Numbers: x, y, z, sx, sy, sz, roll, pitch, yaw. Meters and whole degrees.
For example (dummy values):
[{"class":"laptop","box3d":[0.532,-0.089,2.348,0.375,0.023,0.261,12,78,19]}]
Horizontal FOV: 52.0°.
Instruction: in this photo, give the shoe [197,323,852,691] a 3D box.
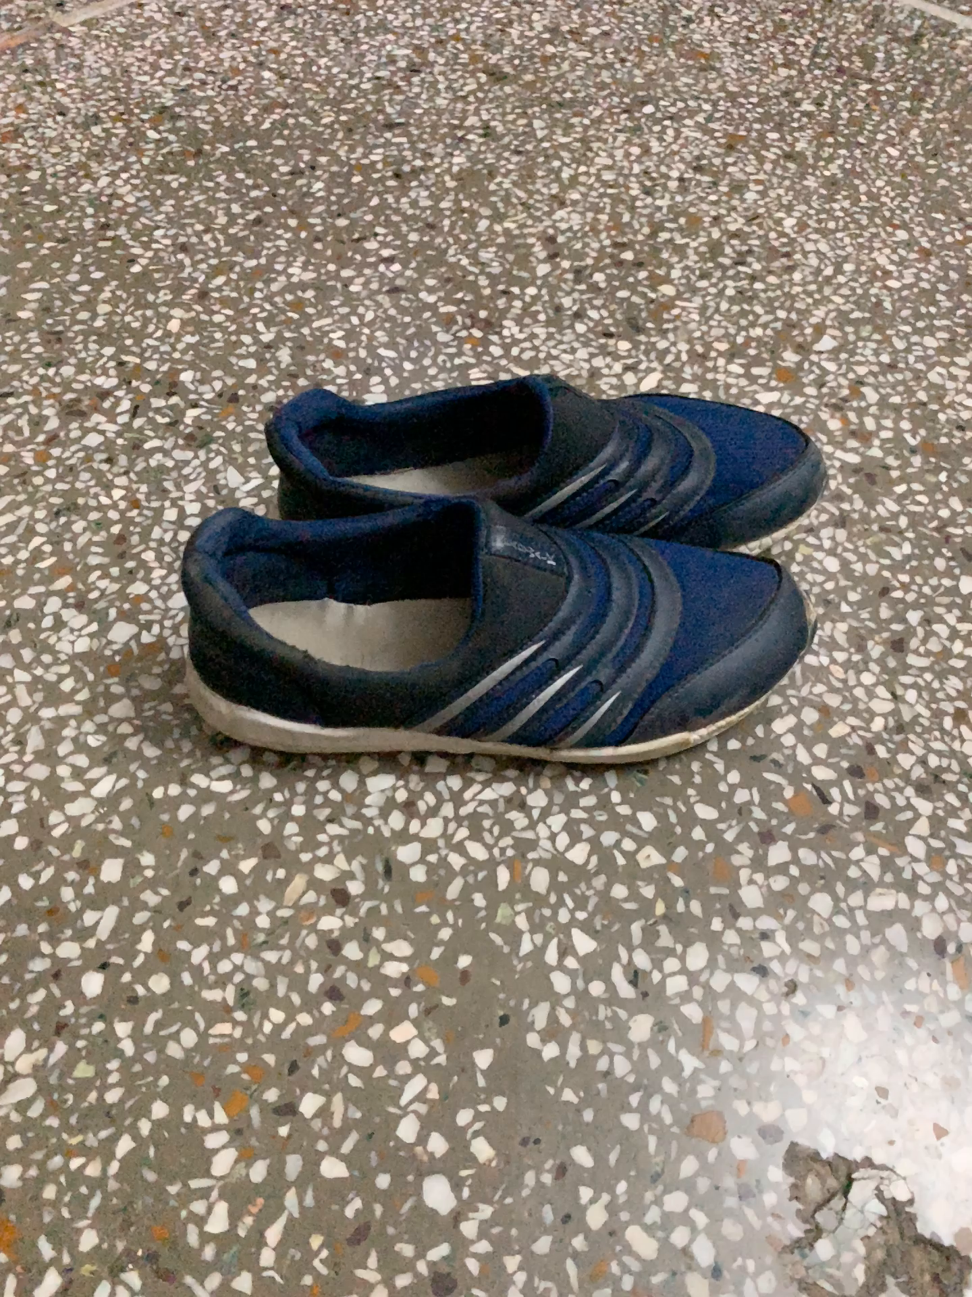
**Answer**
[{"class":"shoe","box3d":[0.013,-0.072,0.491,0.280,0.096,0.104,-10,57,-9]}]

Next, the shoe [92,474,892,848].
[{"class":"shoe","box3d":[-0.001,0.003,0.412,0.283,0.080,0.104,-5,56,-6]}]
